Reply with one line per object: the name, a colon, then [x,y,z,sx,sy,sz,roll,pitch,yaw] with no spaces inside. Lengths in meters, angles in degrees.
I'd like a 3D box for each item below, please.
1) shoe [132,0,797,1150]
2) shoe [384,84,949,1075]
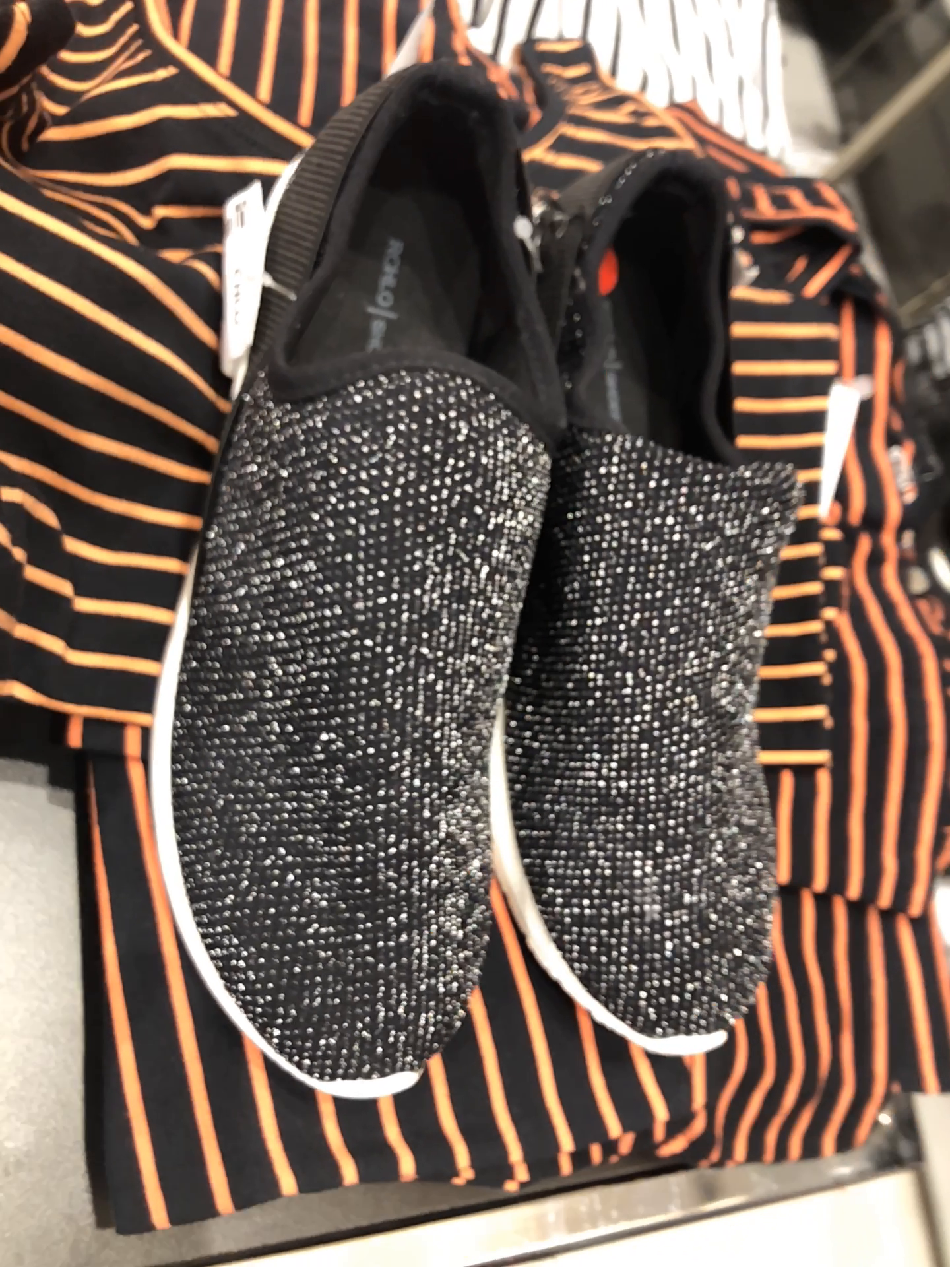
shoe: [-0.022,-0.017,0.261,0.100,0.109,0.240,4,68,-27]
shoe: [0.054,-0.010,0.309,0.100,0.109,0.240,2,69,-28]
